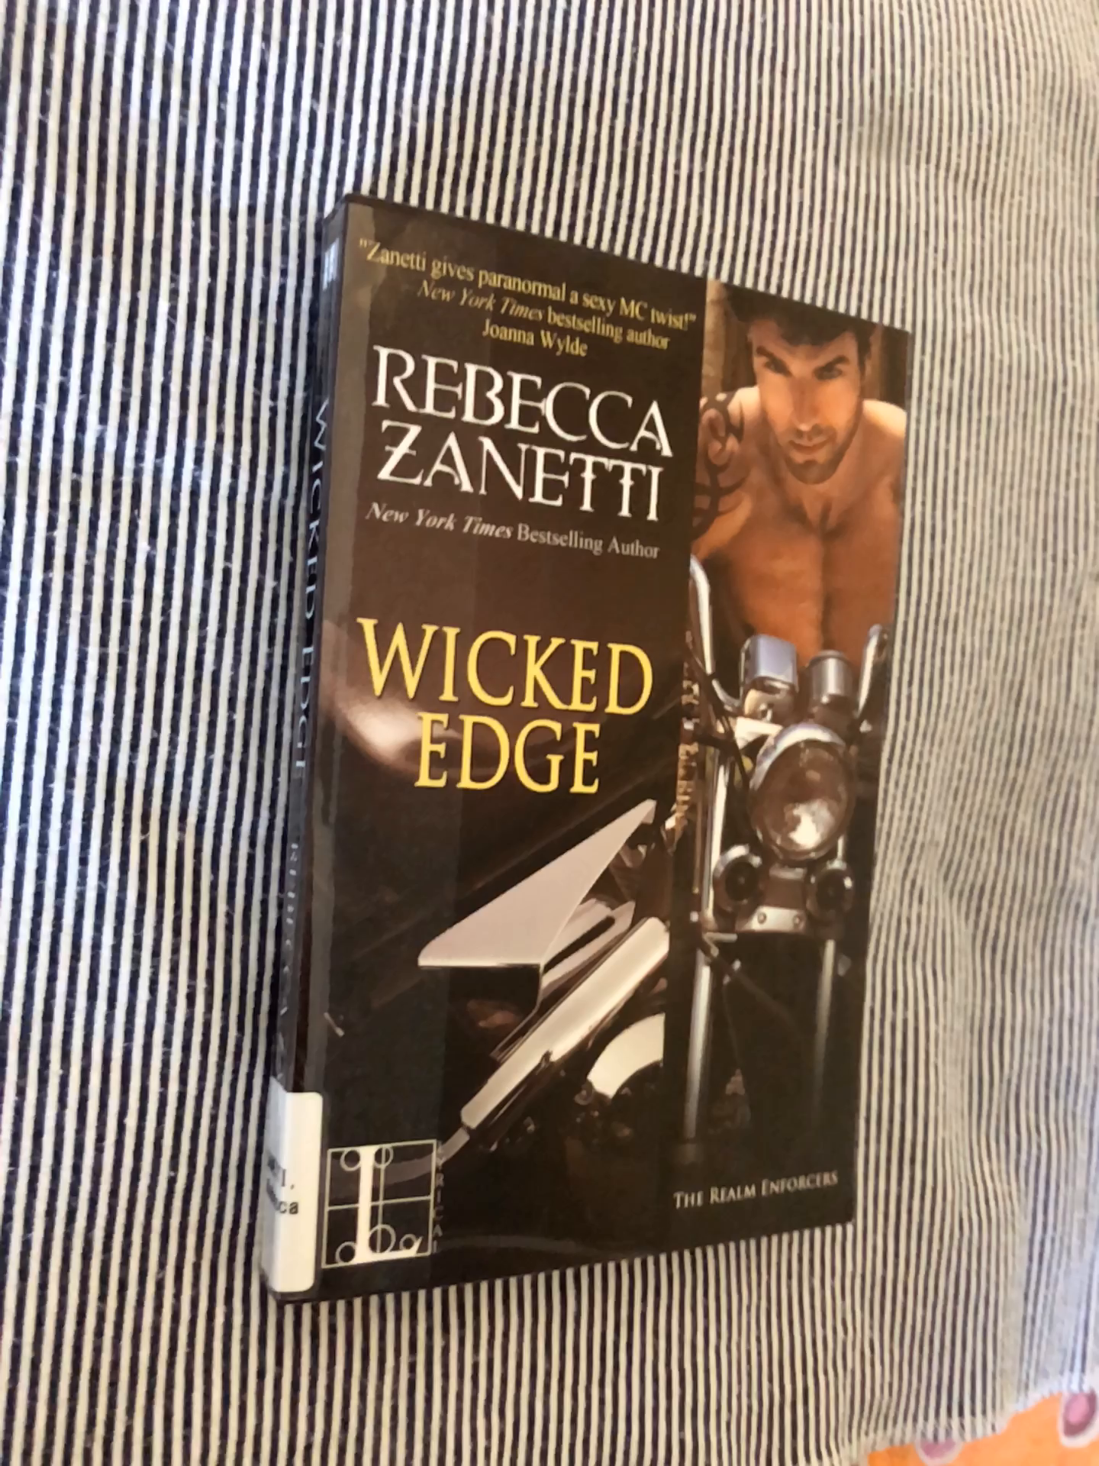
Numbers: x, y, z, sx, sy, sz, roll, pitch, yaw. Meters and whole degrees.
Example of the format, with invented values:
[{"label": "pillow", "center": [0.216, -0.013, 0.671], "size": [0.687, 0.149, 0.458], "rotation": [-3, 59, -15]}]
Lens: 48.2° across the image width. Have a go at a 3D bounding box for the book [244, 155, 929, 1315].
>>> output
[{"label": "book", "center": [0.013, 0.005, 0.271], "size": [0.137, 0.030, 0.215], "rotation": [5, 90, -26]}]
